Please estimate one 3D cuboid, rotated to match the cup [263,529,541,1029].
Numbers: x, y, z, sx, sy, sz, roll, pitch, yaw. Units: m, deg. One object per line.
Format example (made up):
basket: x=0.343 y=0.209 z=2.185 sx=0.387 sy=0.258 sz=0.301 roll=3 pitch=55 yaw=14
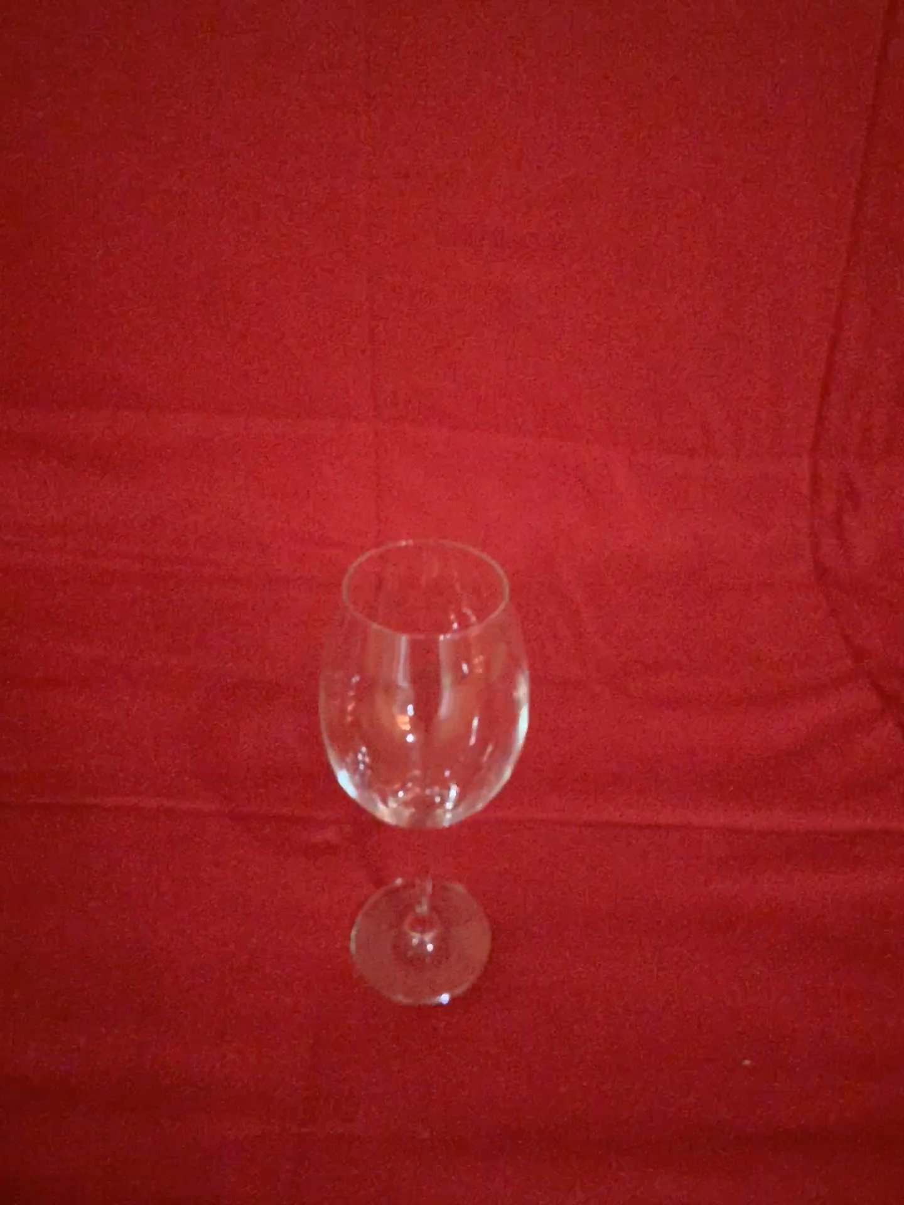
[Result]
cup: x=-0.017 y=0.093 z=0.428 sx=0.094 sy=0.246 sz=0.084 roll=3 pitch=40 yaw=1
